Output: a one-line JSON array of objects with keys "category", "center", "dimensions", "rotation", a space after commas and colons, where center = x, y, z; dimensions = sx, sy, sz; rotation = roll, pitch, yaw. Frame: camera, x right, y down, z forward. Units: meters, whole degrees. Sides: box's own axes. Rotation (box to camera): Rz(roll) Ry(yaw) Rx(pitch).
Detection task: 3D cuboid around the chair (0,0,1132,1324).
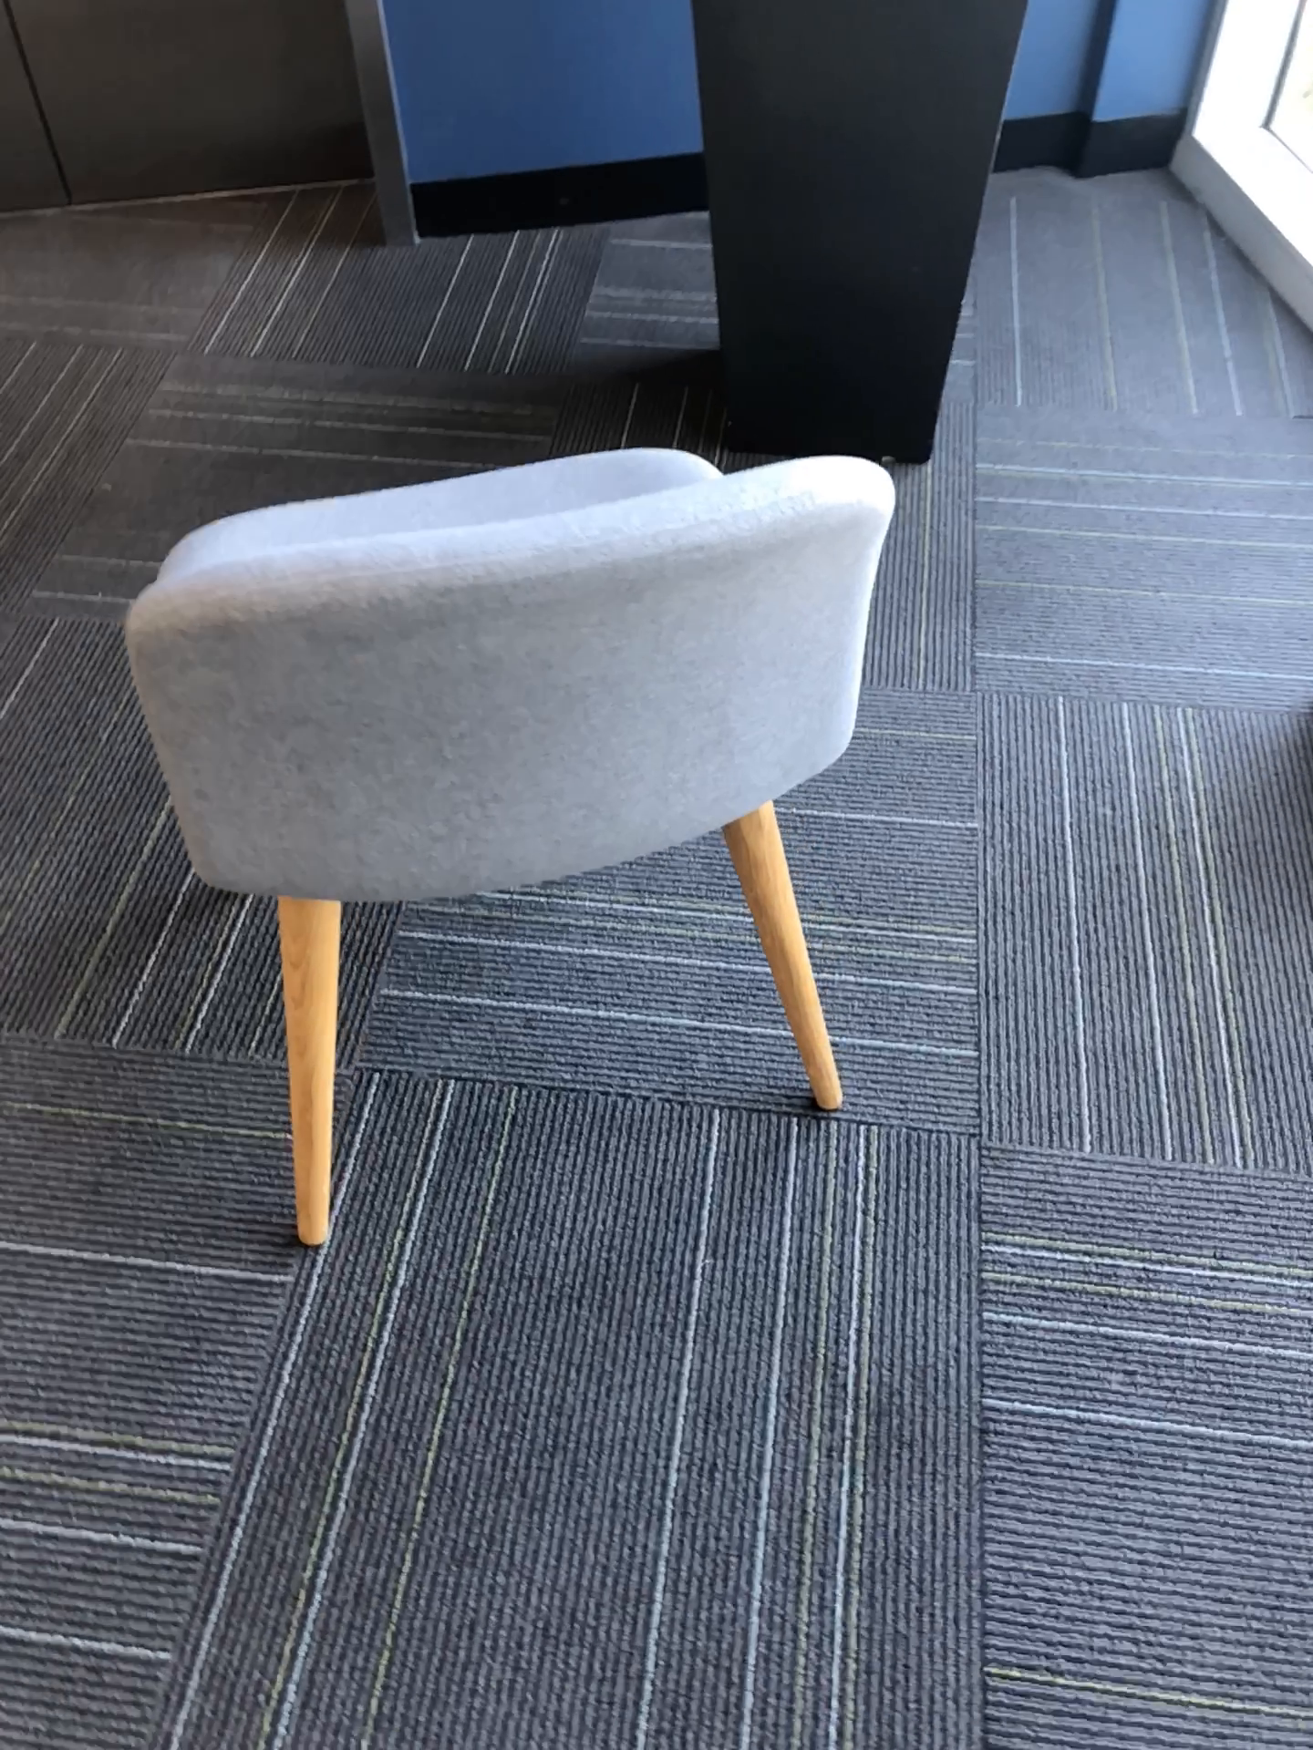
[{"category": "chair", "center": [-0.136, -0.161, 1.107], "dimensions": [0.560, 0.847, 0.612], "rotation": [-11, 54, -8]}]
